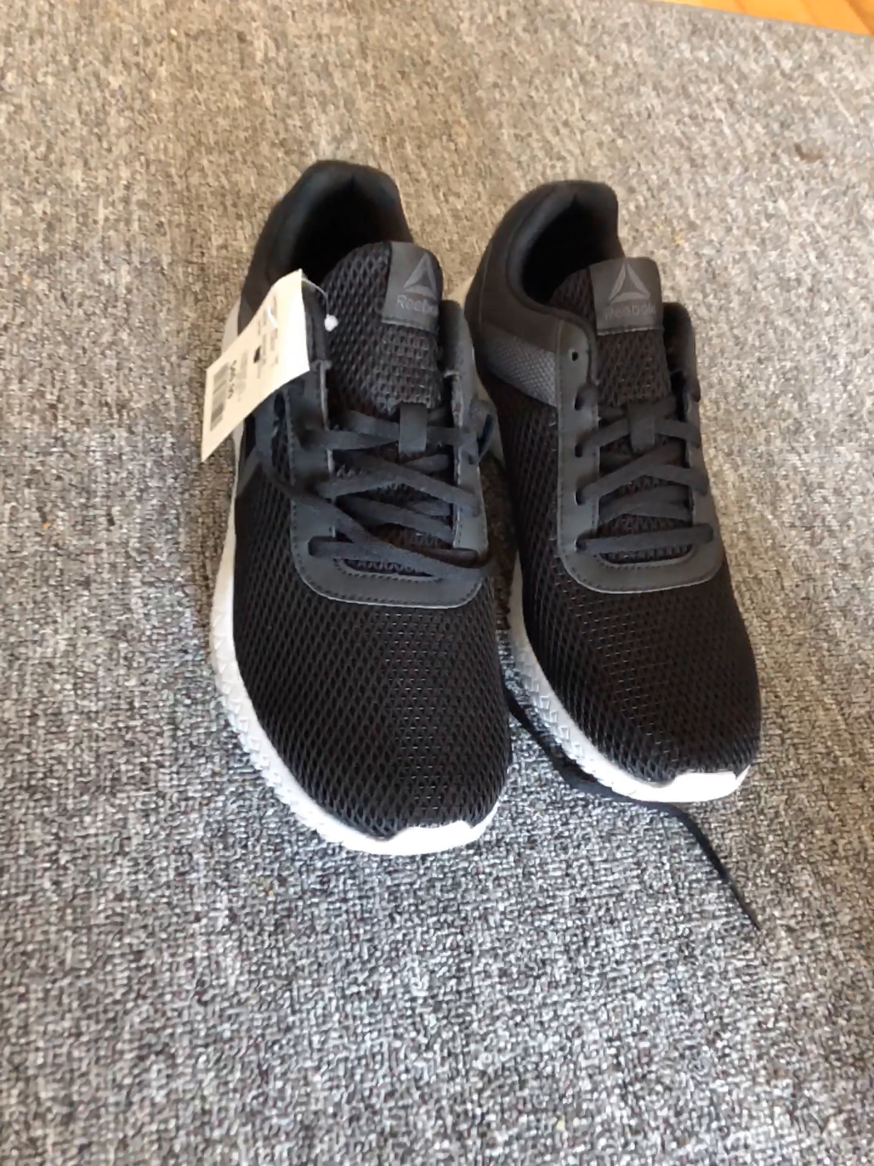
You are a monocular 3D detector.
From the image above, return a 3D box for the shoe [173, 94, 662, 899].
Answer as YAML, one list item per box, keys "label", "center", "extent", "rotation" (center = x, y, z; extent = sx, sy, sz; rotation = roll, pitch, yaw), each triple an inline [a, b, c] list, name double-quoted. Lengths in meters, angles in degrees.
- label: "shoe"
  center: [-0.032, -0.049, 0.379]
  extent: [0.116, 0.099, 0.302]
  rotation: [-3, 59, -18]

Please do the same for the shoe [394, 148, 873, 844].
- label: "shoe"
  center: [0.076, -0.053, 0.435]
  extent: [0.110, 0.099, 0.302]
  rotation: [-5, 59, -19]
